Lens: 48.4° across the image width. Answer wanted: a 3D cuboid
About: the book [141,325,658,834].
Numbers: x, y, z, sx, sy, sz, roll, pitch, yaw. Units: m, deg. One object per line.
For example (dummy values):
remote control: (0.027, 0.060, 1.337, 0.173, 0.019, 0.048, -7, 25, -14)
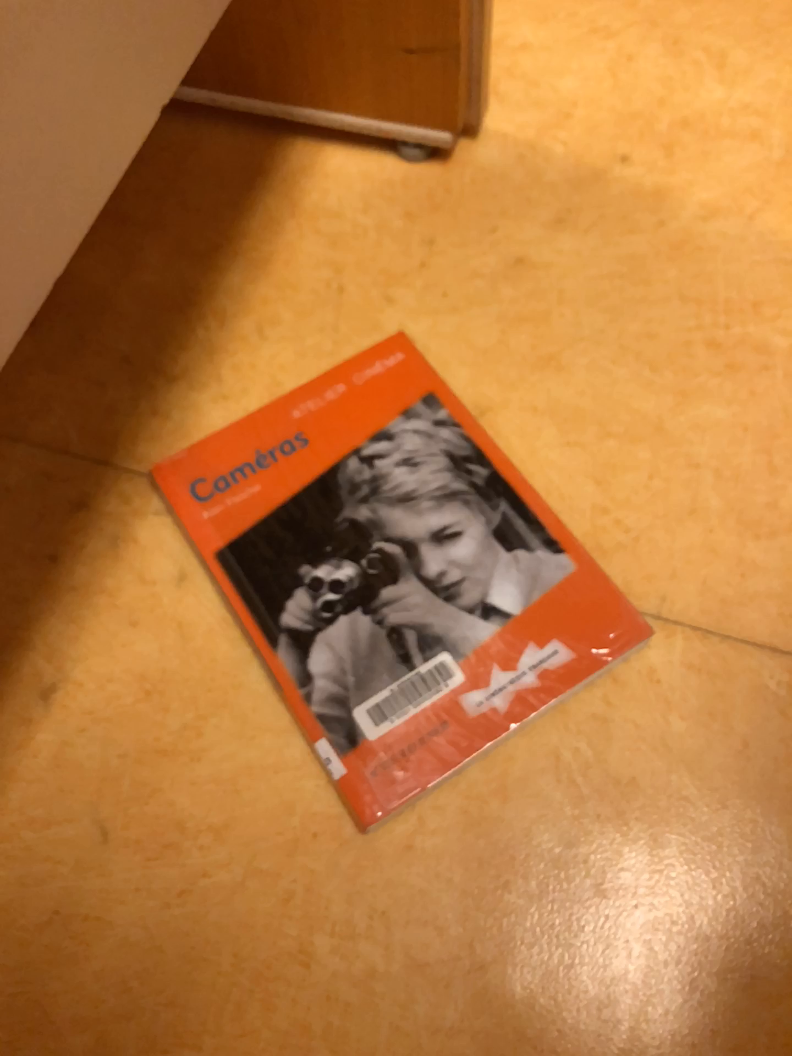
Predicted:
book: (-0.006, 0.009, 0.415, 0.155, 0.011, 0.205, -31, 65, -12)
